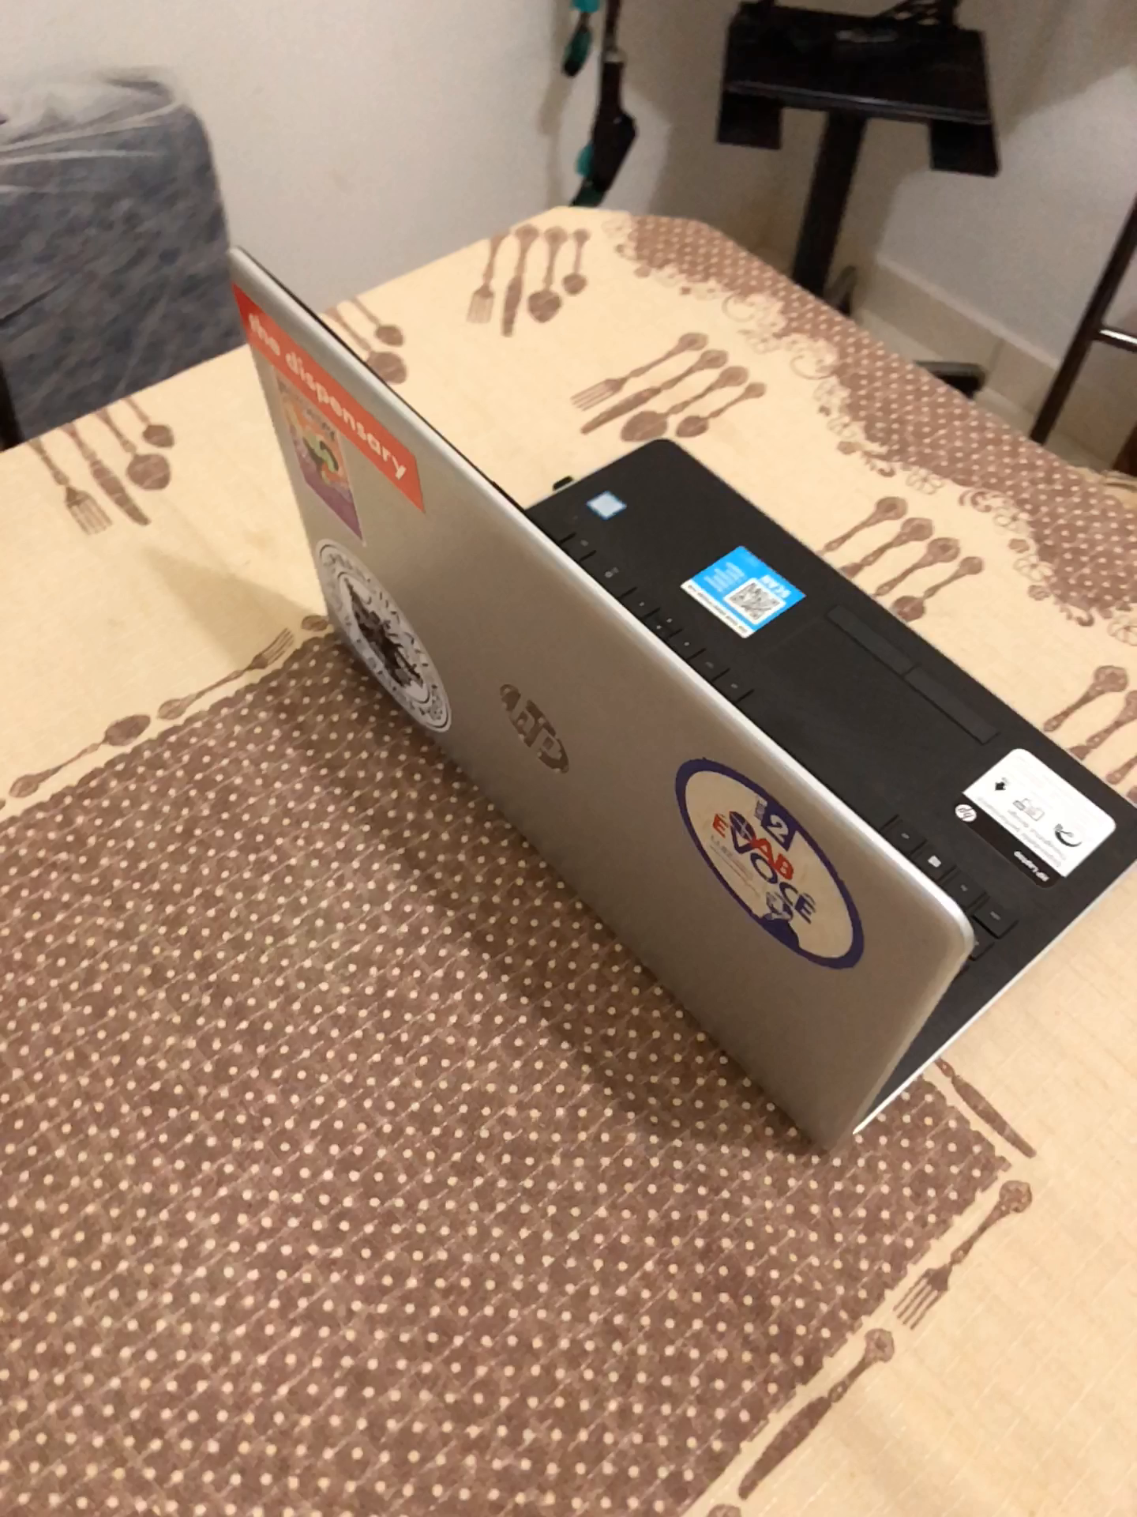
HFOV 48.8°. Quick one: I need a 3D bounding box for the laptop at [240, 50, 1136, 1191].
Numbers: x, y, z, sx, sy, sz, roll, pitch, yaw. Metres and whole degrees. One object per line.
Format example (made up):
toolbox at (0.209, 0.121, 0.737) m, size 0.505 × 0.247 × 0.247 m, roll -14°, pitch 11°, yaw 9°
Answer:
laptop at (0.085, -0.077, 0.542) m, size 0.268 × 0.226 × 0.360 m, roll -34°, pitch 63°, yaw -24°
